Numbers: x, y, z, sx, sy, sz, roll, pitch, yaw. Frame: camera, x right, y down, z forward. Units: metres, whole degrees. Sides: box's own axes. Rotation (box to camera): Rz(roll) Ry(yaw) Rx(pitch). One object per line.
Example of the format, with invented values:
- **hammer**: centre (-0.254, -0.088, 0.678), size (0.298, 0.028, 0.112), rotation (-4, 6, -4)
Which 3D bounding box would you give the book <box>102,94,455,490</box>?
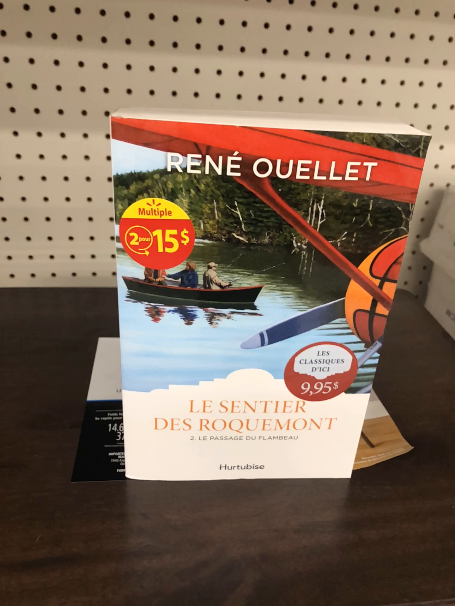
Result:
- **book**: centre (0.015, 0.003, 0.291), size (0.153, 0.215, 0.065), rotation (2, 26, -5)
